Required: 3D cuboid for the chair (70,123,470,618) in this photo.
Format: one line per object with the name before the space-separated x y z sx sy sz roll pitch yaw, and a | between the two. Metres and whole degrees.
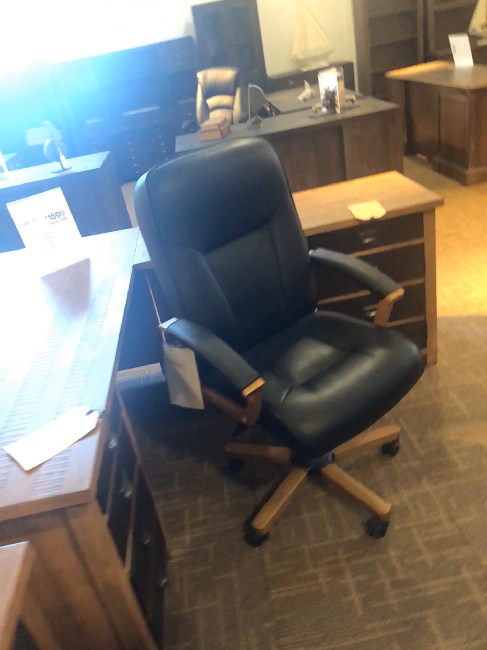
chair | 0.122 0.049 1.629 0.739 1.105 0.744 -27 32 -28
